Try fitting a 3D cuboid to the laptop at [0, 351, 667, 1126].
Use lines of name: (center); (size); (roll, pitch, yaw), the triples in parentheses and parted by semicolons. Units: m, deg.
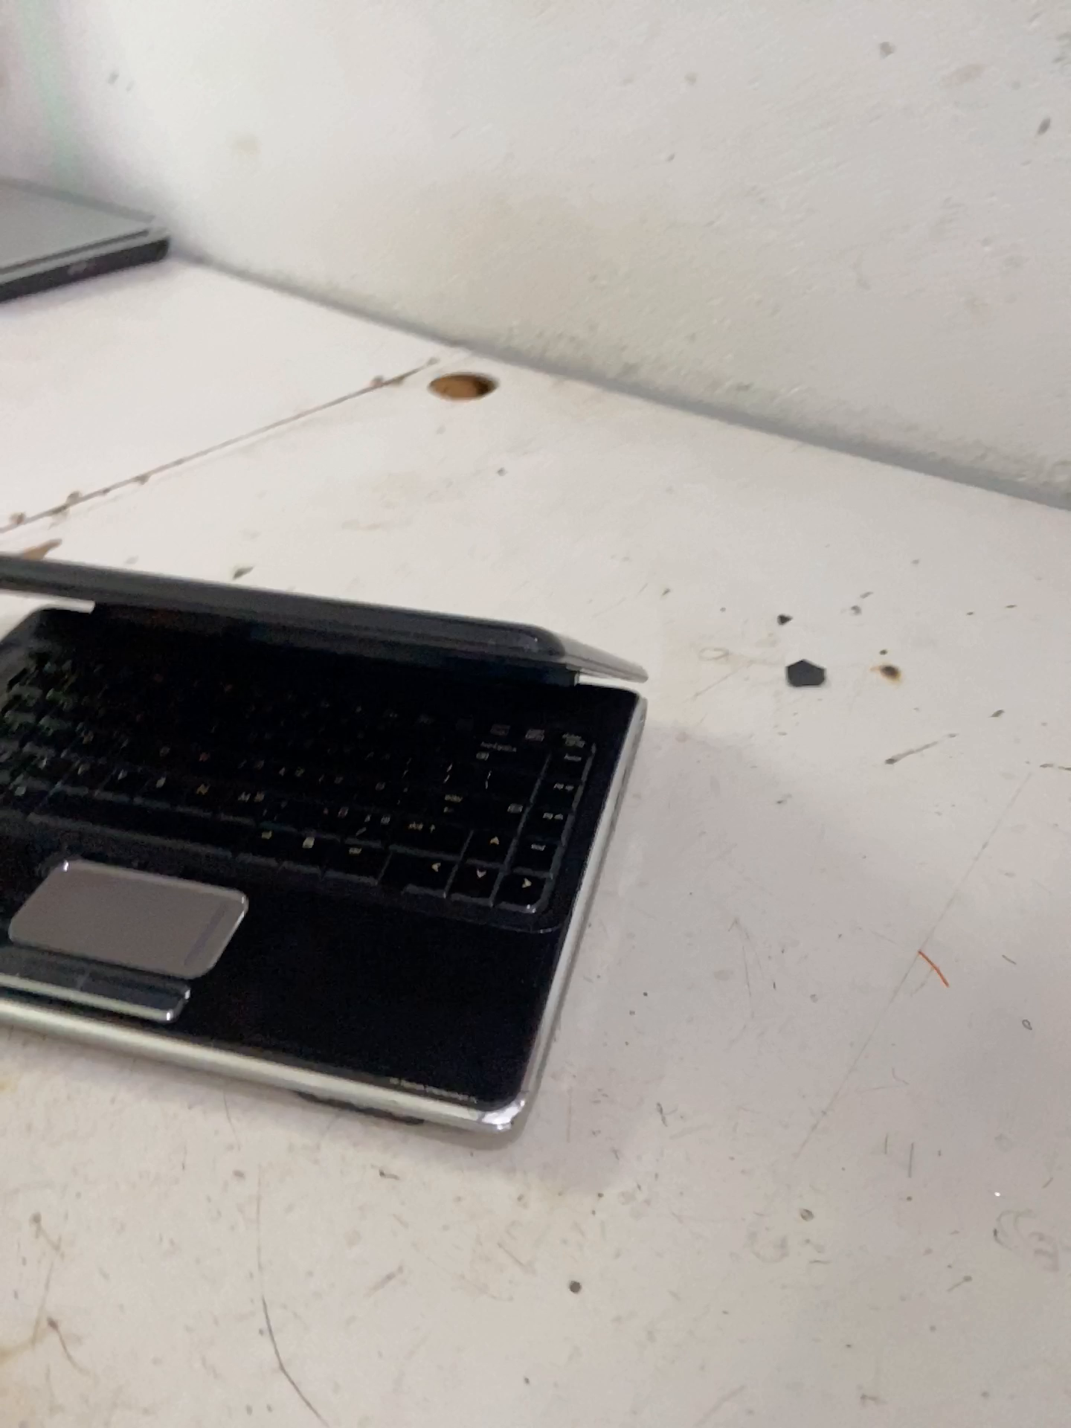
laptop: (-0.134, -0.019, 0.432); (0.328, 0.137, 0.232); (9, 40, 12)
